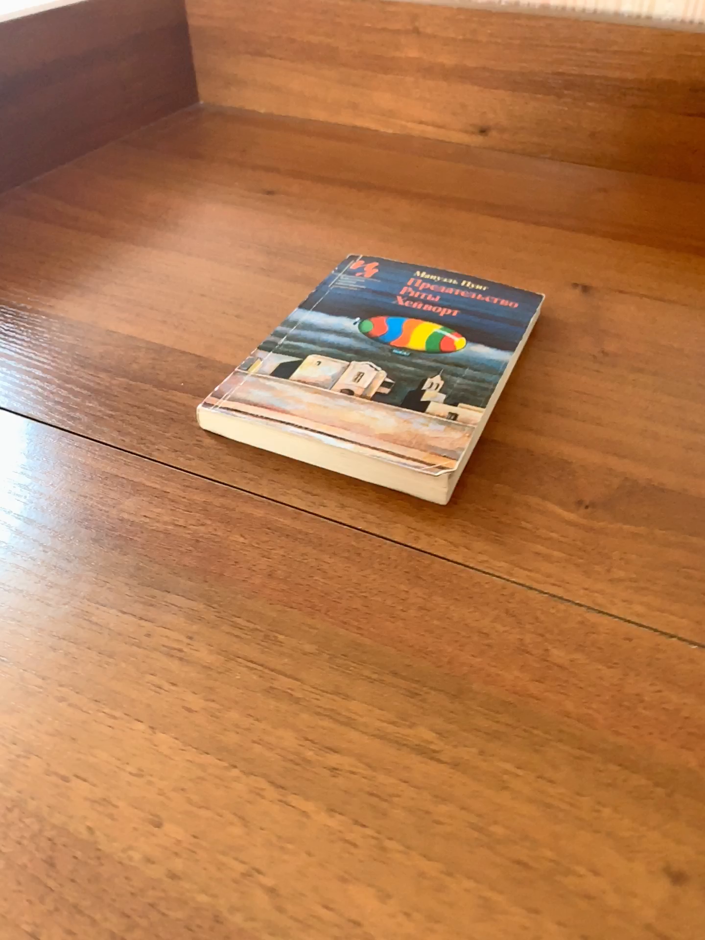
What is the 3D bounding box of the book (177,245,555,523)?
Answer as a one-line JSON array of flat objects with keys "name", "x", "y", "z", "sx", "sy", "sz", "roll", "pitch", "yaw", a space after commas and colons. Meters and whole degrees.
[{"name": "book", "x": 0.016, "y": -0.052, "z": 0.337, "sx": 0.121, "sy": 0.016, "sz": 0.158, "roll": 17, "pitch": 44, "yaw": 16}]
